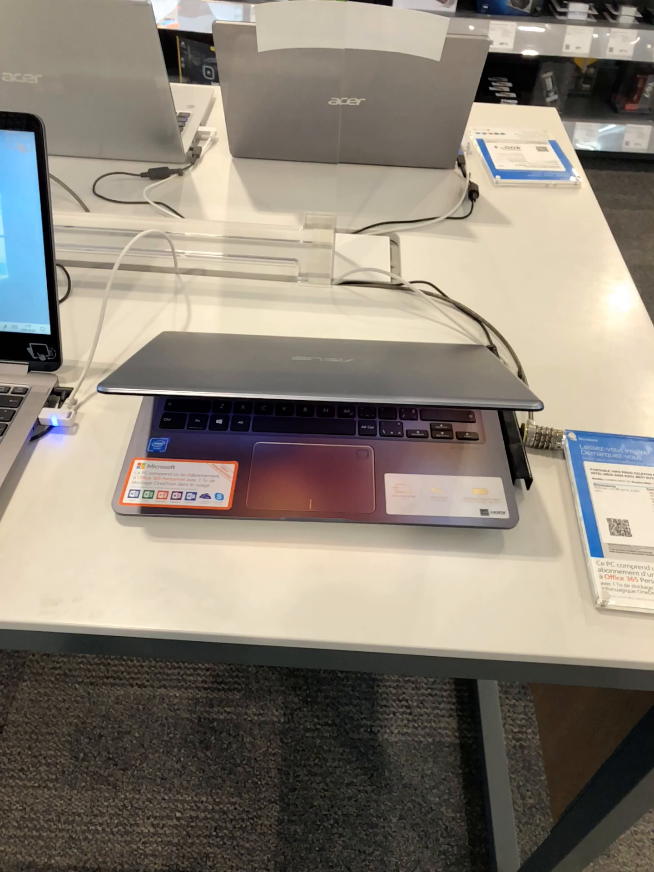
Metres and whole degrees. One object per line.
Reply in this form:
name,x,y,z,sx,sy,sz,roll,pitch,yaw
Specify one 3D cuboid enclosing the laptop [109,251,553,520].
laptop,0.002,-0.047,0.592,0.300,0.099,0.202,3,45,-2
